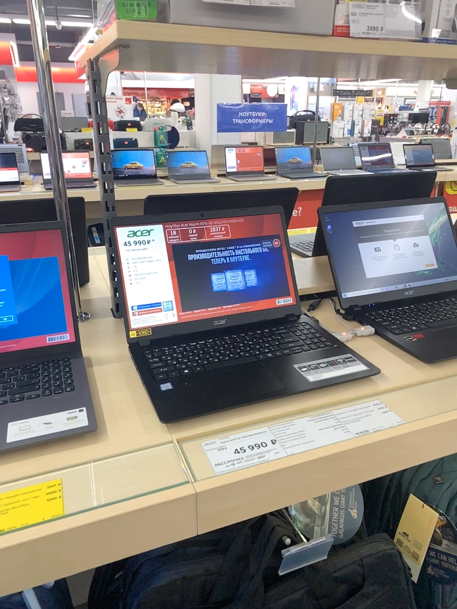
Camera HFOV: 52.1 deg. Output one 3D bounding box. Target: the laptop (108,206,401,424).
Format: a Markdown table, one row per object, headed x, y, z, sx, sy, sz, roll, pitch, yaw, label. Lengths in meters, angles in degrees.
| x | y | z | sx | sy | sz | roll | pitch | yaw | label |
| --- | --- | --- | --- | --- | --- | --- | --- | --- | --- |
| 0.014 | -0.025 | 0.819 | 0.368 | 0.208 | 0.366 | -8 | 23 | -20 | laptop |
